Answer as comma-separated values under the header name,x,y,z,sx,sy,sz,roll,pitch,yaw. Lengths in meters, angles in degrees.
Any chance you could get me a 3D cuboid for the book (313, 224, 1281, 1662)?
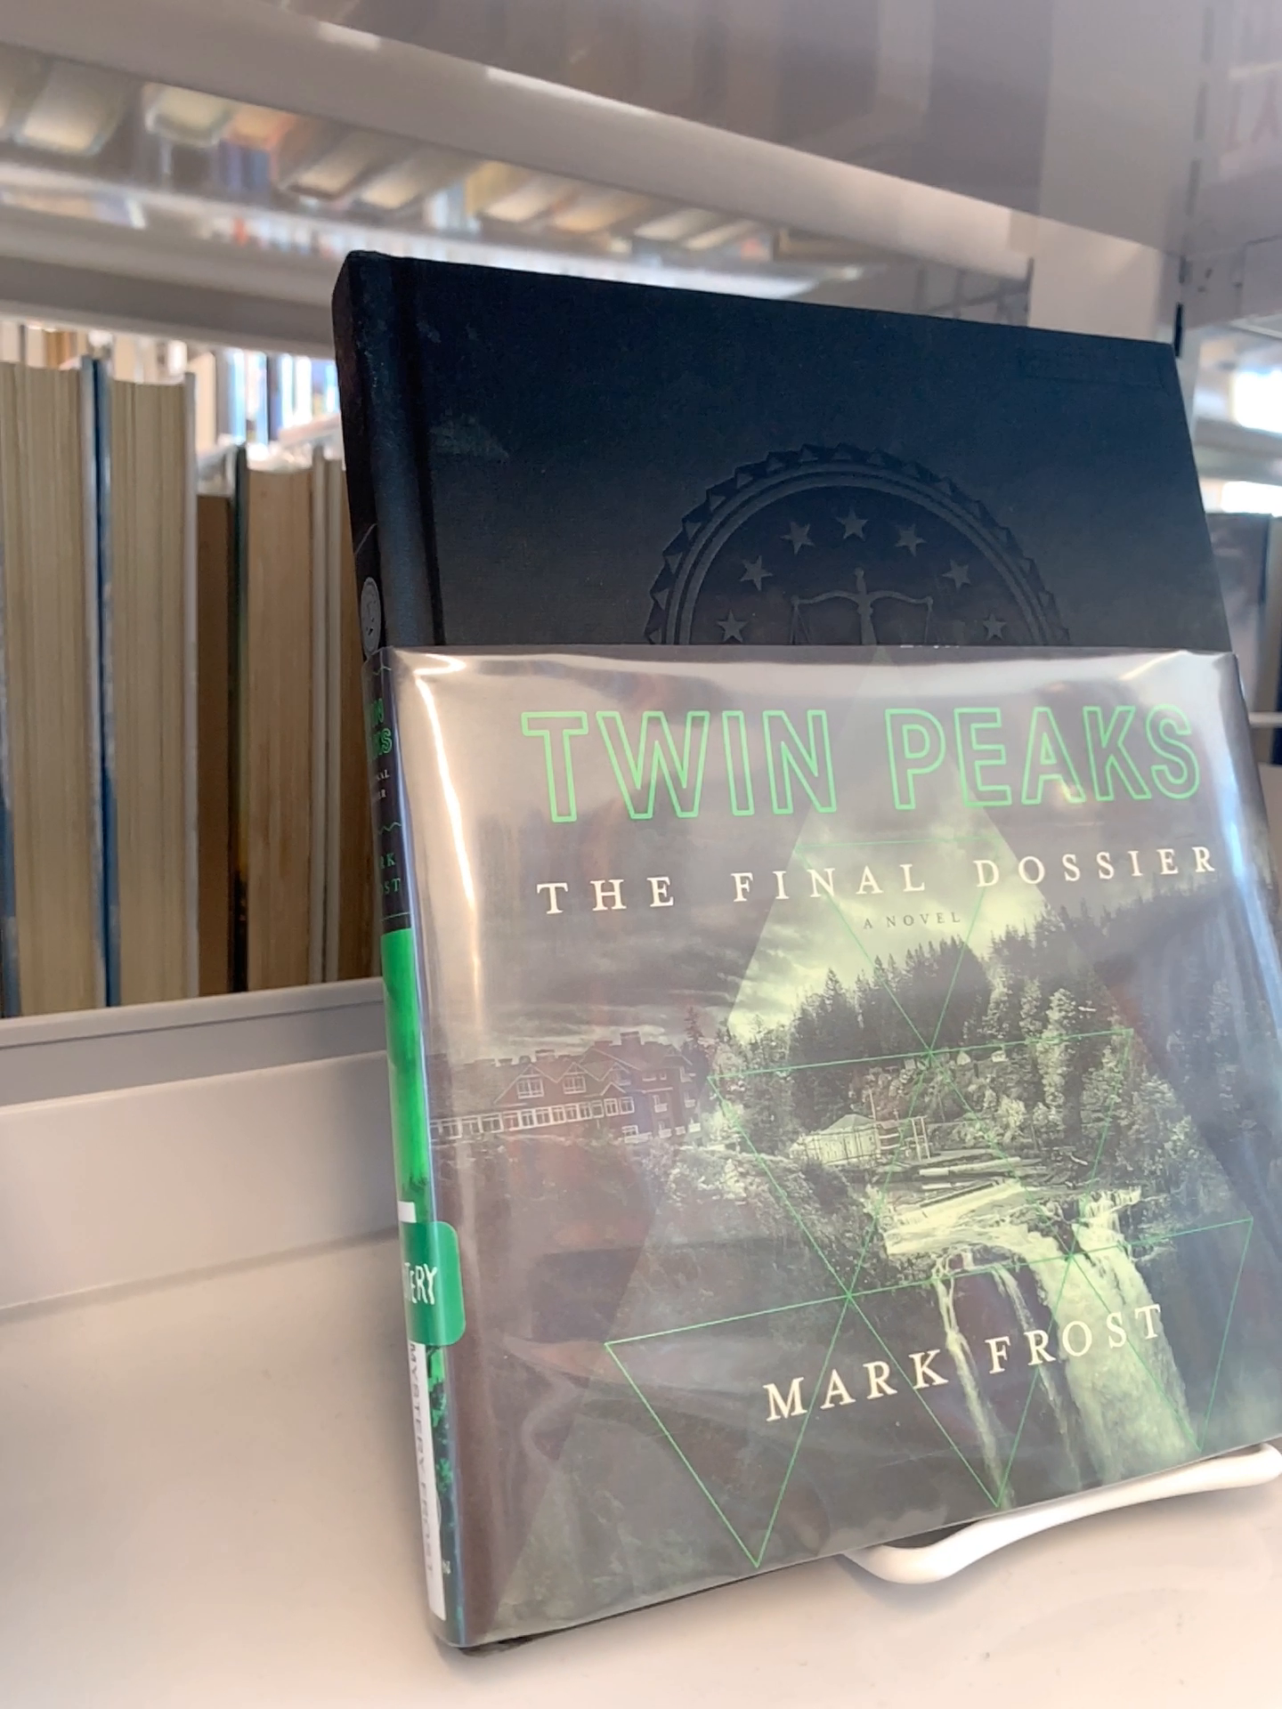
name,x,y,z,sx,sy,sz,roll,pitch,yaw
book,0.042,0.003,0.255,0.190,0.228,0.020,-2,-8,-21
